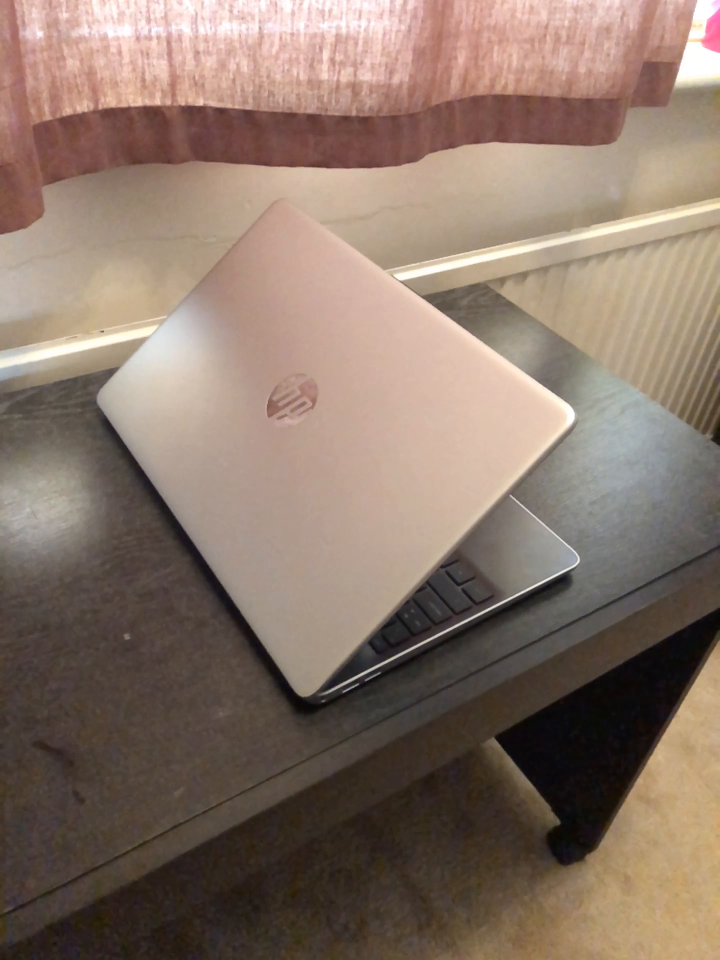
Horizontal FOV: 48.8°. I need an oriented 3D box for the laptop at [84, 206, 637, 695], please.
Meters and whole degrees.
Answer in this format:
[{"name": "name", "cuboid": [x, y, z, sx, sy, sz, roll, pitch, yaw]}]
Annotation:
[{"name": "laptop", "cuboid": [-0.021, -0.062, 0.604, 0.237, 0.141, 0.362, -19, 46, -31]}]
